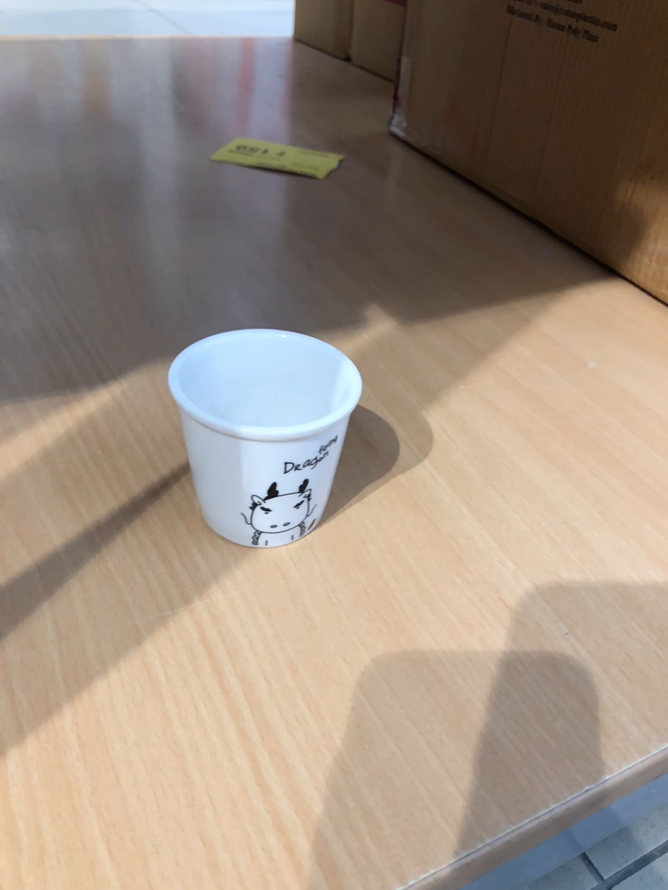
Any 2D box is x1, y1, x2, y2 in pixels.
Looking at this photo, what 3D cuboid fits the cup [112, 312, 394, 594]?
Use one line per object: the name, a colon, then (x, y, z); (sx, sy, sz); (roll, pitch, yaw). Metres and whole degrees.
cup: (-0.034, -0.002, 0.291); (0.080, 0.060, 0.080); (4, 37, -3)
